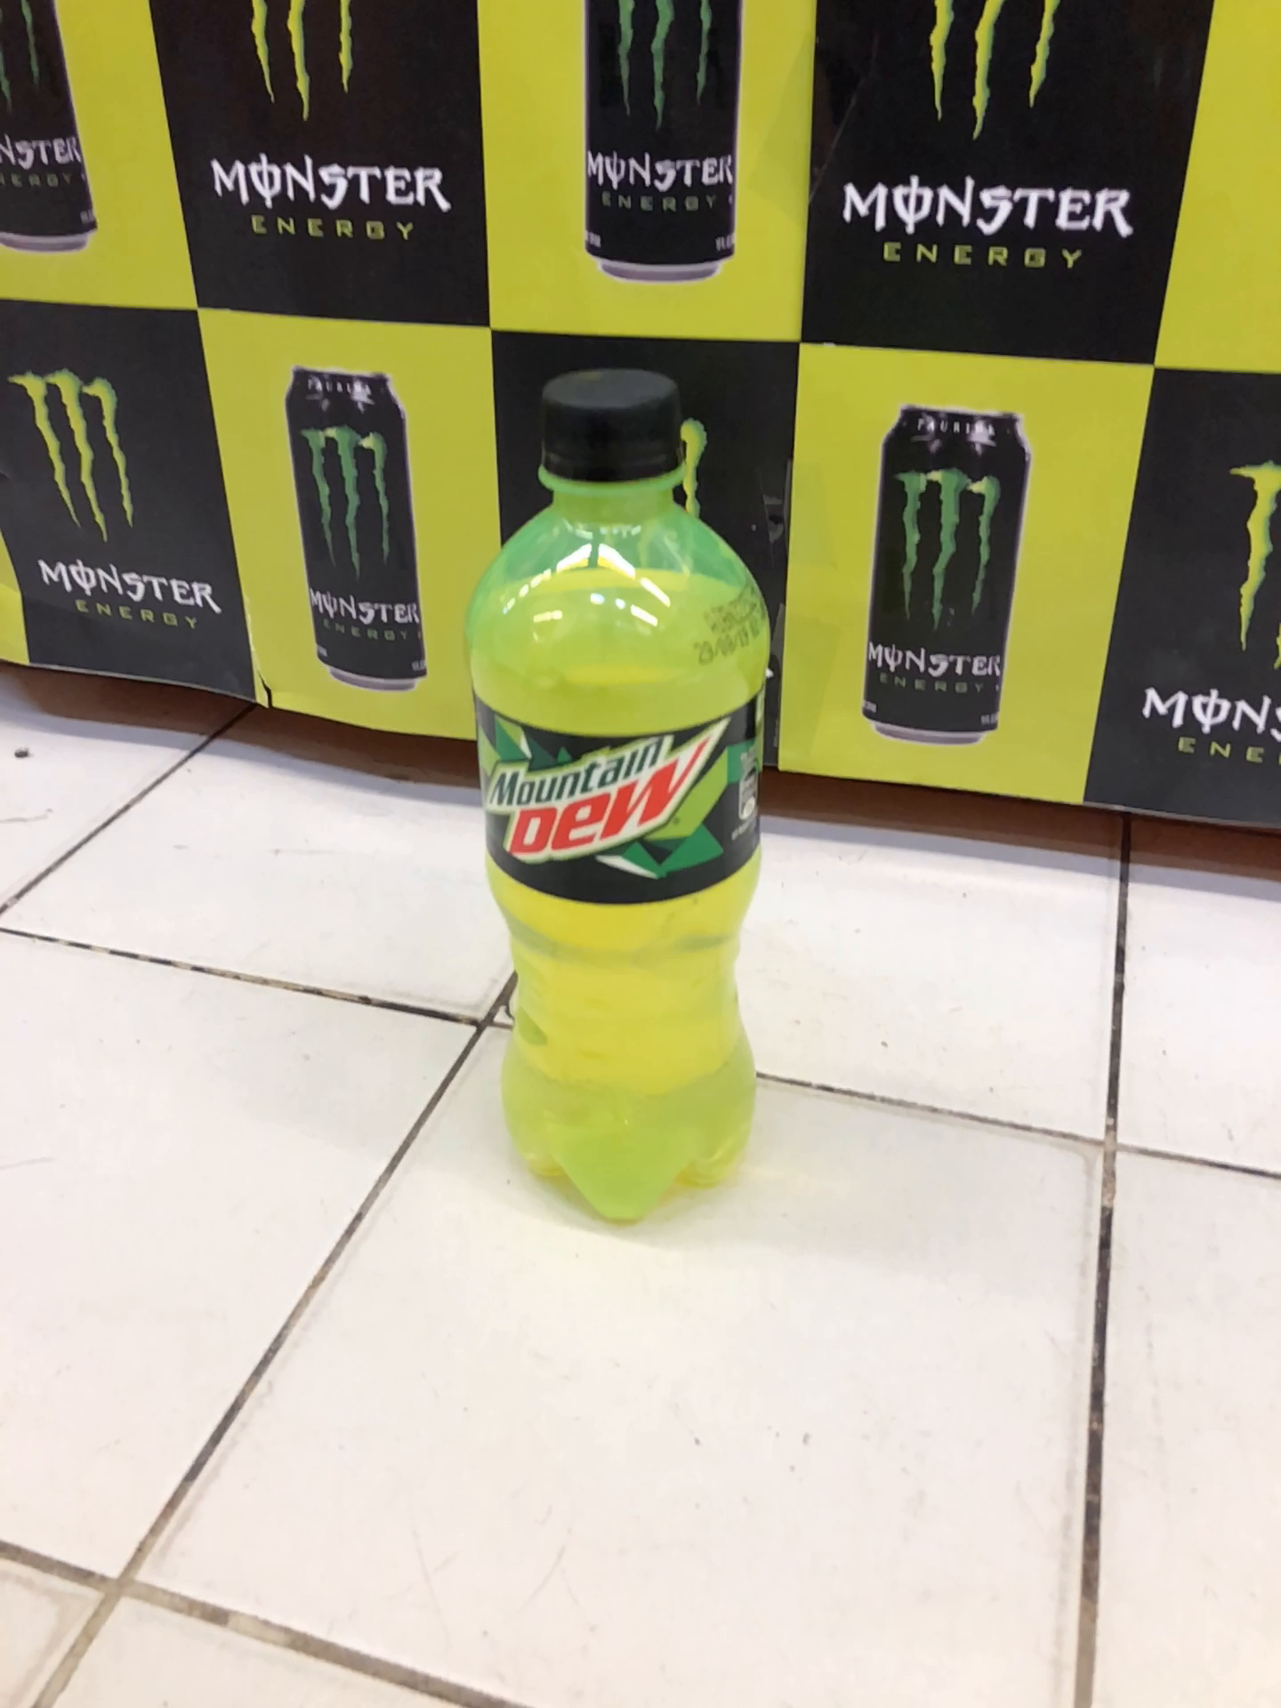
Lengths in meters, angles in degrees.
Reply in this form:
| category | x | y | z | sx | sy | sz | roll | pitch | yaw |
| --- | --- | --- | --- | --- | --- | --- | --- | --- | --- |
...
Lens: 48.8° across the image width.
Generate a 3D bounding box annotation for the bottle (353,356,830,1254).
| category | x | y | z | sx | sy | sz | roll | pitch | yaw |
| --- | --- | --- | --- | --- | --- | --- | --- | --- | --- |
| bottle | -0.005 | -0.008 | 0.342 | 0.080 | 0.199 | 0.070 | 8 | 32 | 15 |
